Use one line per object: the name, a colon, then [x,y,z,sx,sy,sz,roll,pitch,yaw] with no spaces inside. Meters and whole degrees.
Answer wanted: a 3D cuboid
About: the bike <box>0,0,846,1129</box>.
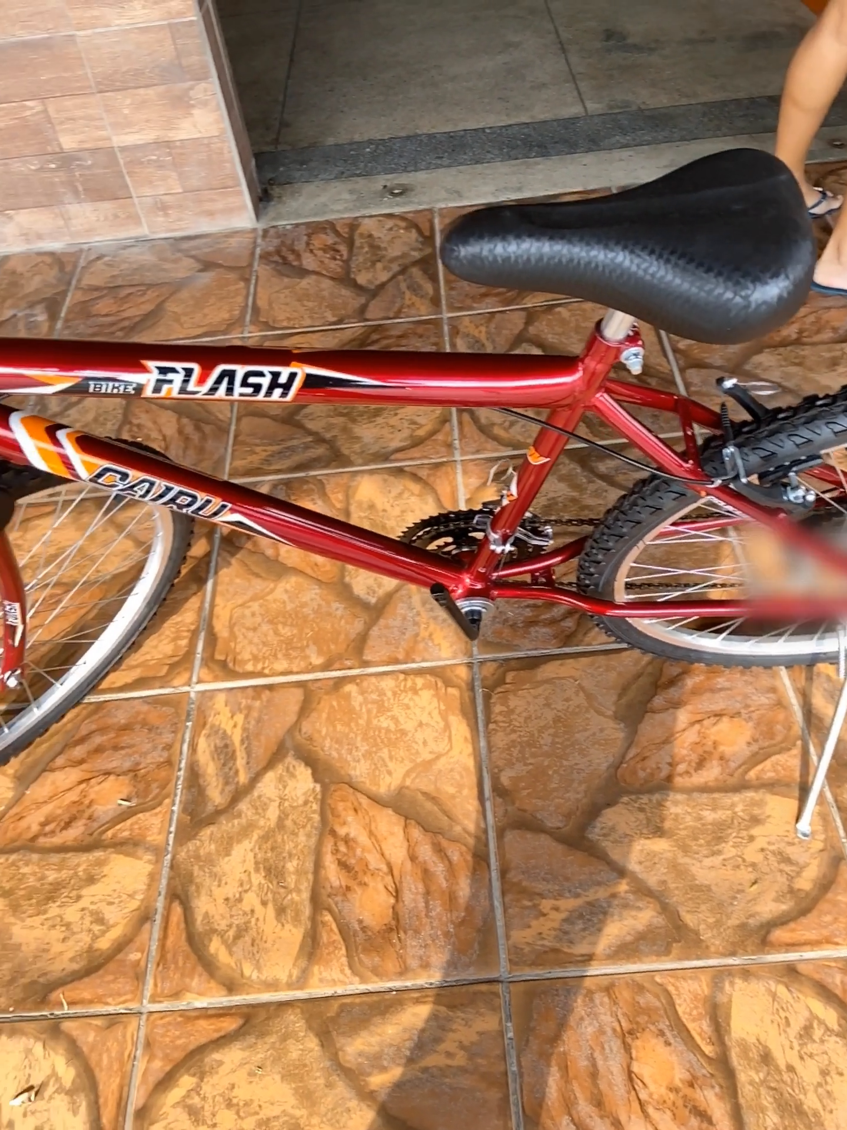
bike: [-0.002,0.090,0.775,1.556,0.986,0.602,-12,49,1]
